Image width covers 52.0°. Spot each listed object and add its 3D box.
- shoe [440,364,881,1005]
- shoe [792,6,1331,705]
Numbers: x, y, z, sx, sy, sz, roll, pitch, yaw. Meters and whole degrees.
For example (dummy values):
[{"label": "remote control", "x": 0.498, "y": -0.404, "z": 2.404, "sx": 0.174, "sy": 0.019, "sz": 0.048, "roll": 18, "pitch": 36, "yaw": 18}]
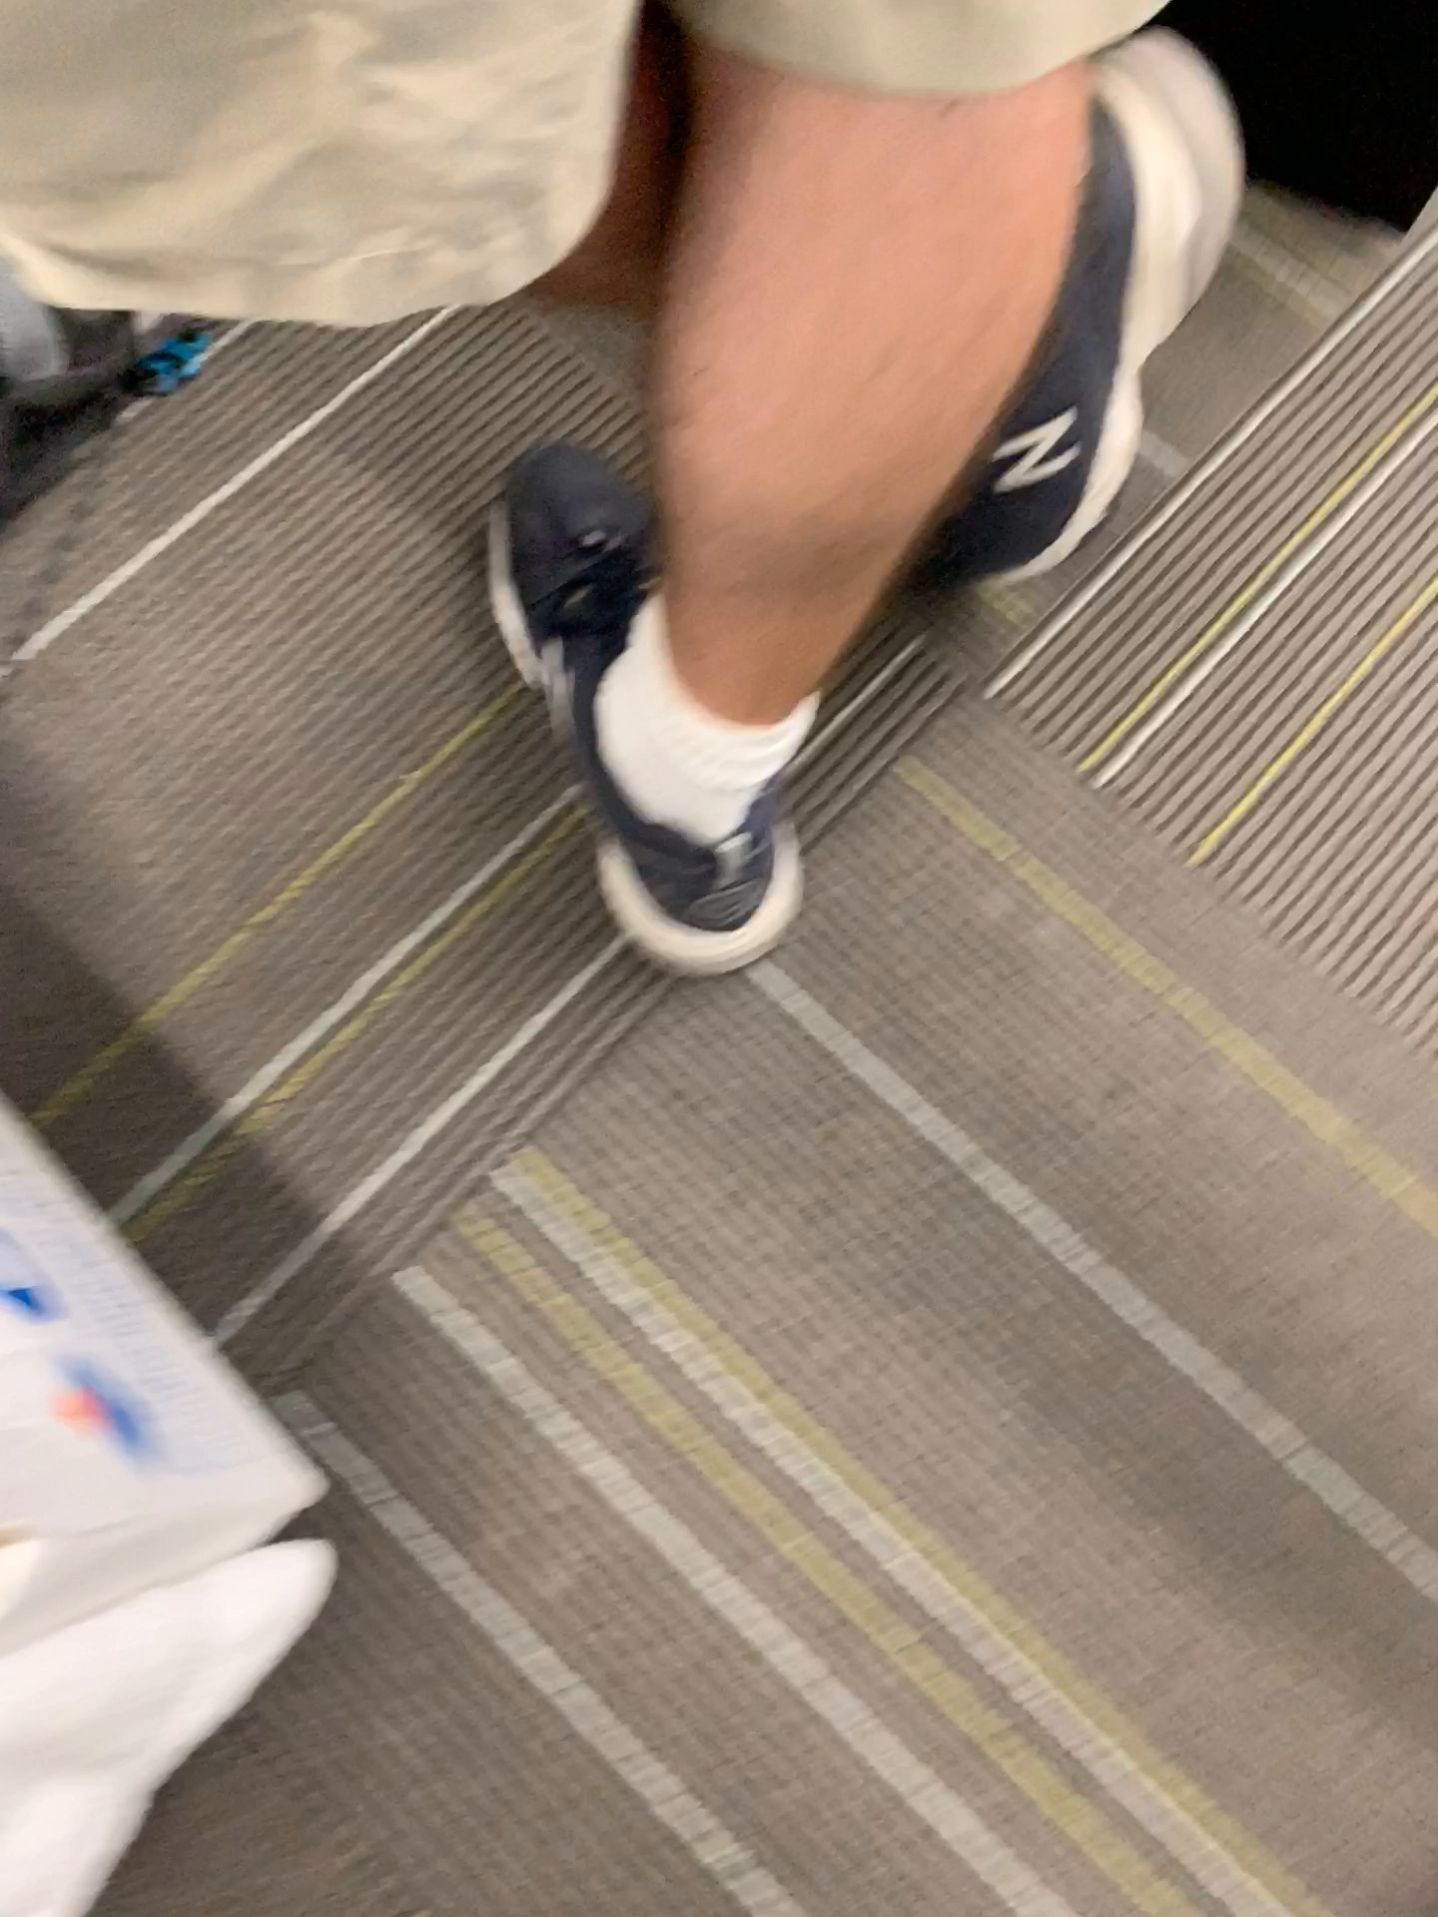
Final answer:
[{"label": "shoe", "x": -0.035, "y": -0.141, "z": 0.744, "sx": 0.120, "sy": 0.077, "sz": 0.297, "roll": -18, "pitch": 74, "yaw": -8}, {"label": "shoe", "x": 0.139, "y": -0.263, "z": 0.707, "sx": 0.129, "sy": 0.293, "sz": 0.122, "roll": -23, "pitch": 76, "yaw": -12}]
